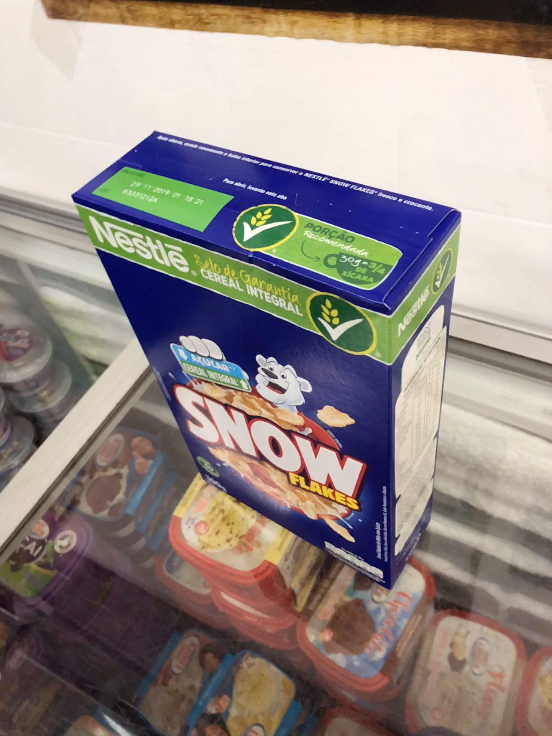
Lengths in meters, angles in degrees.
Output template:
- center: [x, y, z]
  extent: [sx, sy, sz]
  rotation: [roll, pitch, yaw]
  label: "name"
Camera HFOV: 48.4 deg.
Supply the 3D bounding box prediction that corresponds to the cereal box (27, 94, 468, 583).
- center: [0.000, 0.001, 0.345]
  extent: [0.170, 0.258, 0.070]
  rotation: [23, 59, 27]
  label: "cereal box"
